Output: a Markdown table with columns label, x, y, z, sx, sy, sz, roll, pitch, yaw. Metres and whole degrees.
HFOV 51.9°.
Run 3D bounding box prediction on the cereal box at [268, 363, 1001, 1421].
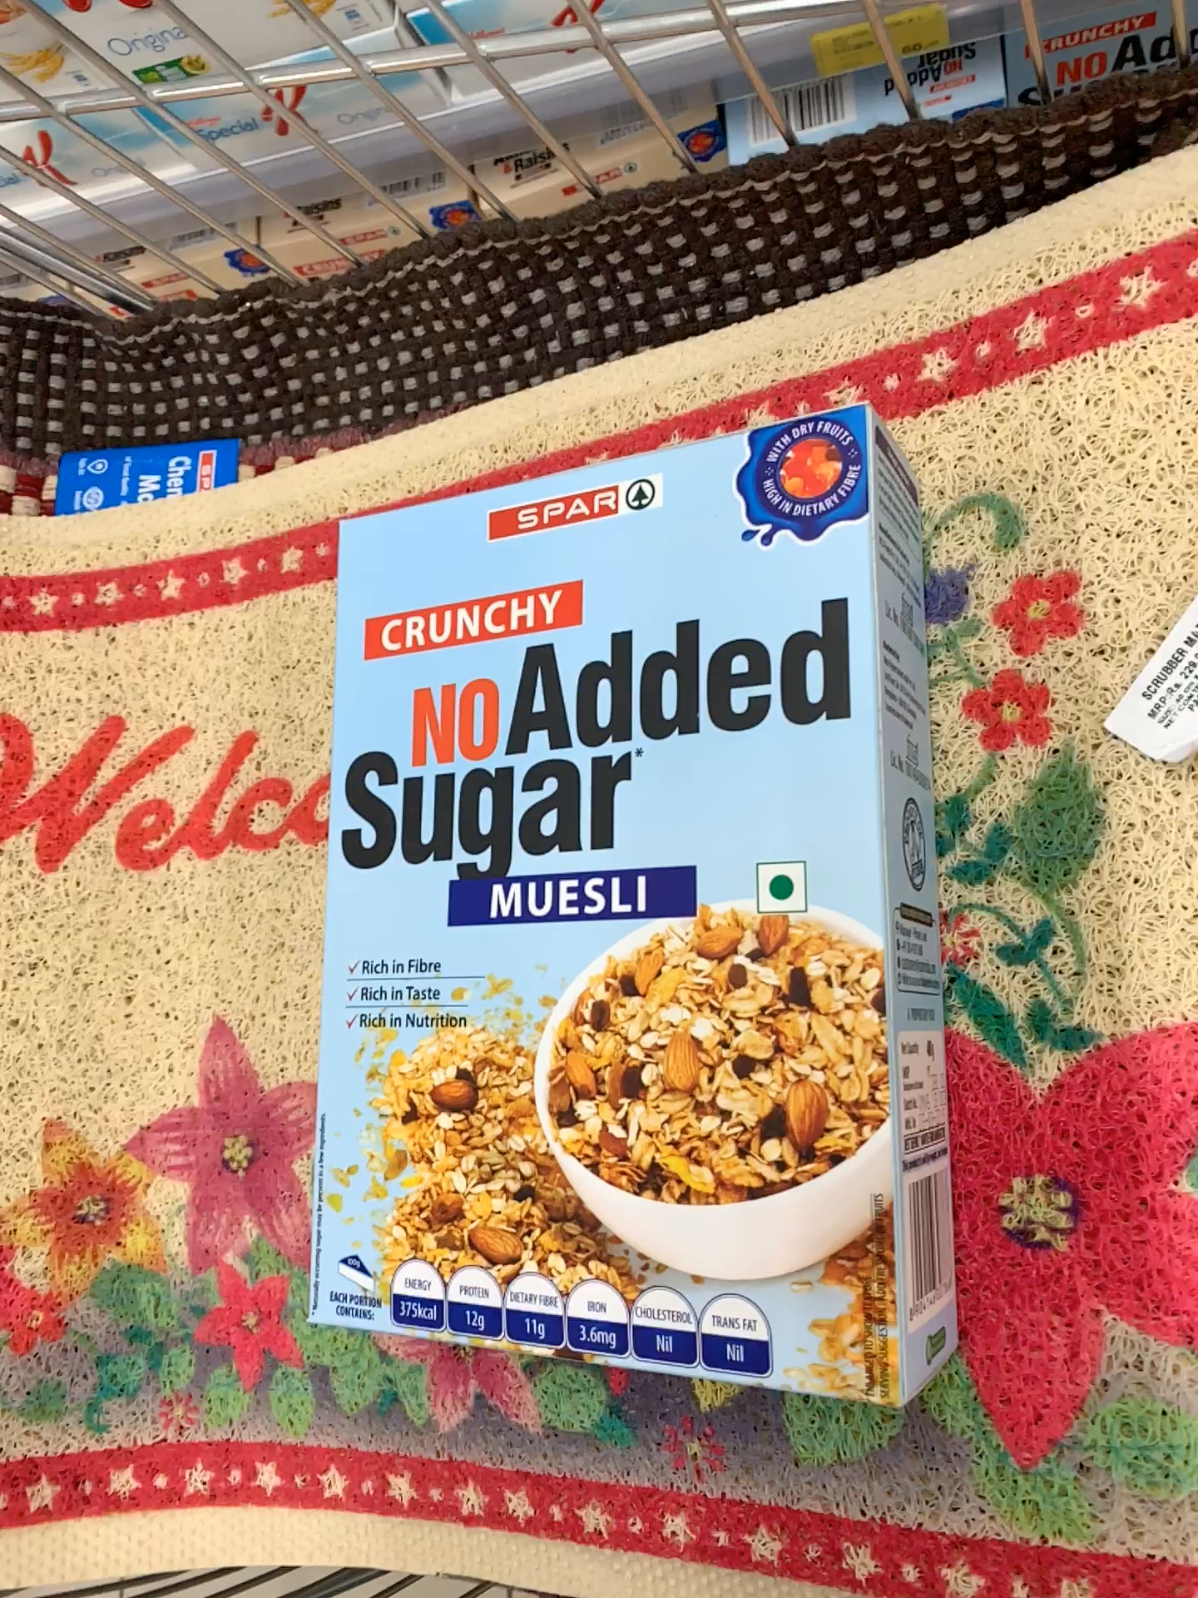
| label | x | y | z | sx | sy | sz | roll | pitch | yaw |
| --- | --- | --- | --- | --- | --- | --- | --- | --- | --- |
| cereal box | 0.003 | 0.023 | 0.330 | 0.180 | 0.050 | 0.230 | -6 | 78 | 27 |
